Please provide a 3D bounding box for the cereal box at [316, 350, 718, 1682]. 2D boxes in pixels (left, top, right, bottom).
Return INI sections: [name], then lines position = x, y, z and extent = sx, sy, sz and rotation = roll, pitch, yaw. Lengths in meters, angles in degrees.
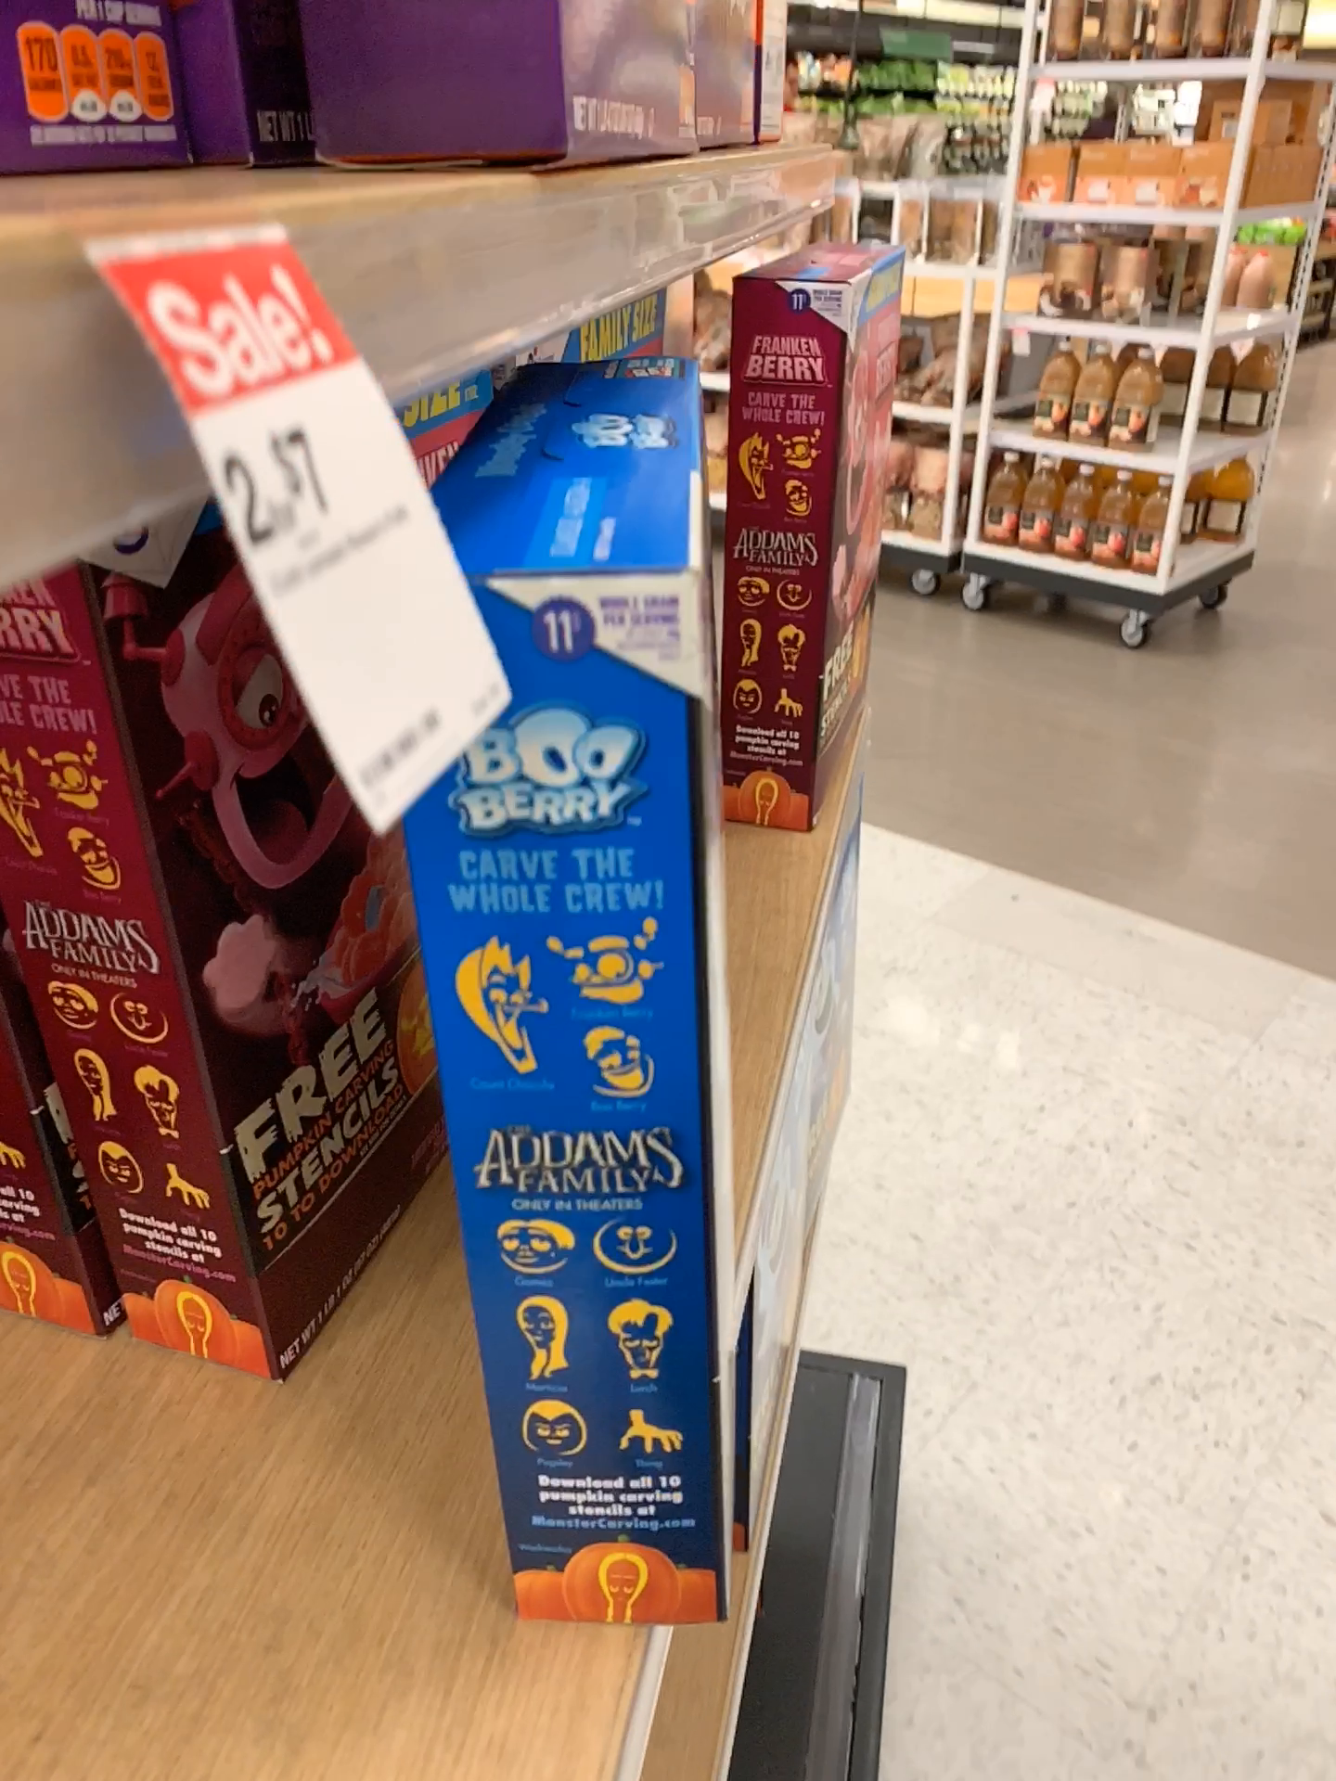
[cereal box]
position = -0.024, 0.022, 0.406
extent = 0.060, 0.309, 0.241
rotation = -2, 29, 1
